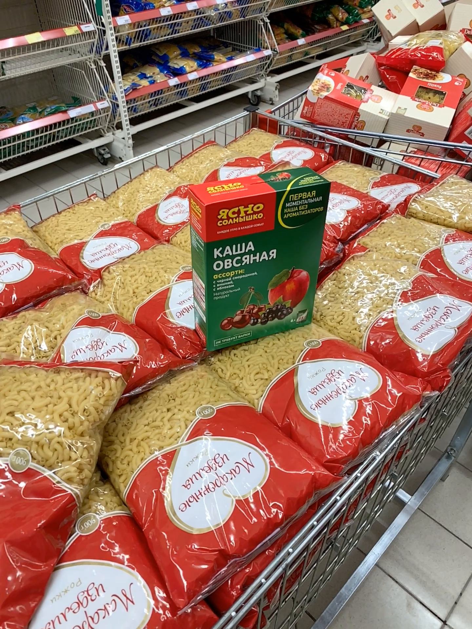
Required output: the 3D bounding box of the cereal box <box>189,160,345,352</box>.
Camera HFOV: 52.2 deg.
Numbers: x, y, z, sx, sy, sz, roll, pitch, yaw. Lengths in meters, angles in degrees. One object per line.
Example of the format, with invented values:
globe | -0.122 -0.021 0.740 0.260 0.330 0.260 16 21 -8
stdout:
cereal box | 0.034 -0.070 0.585 0.160 0.198 0.060 -14 39 -19
